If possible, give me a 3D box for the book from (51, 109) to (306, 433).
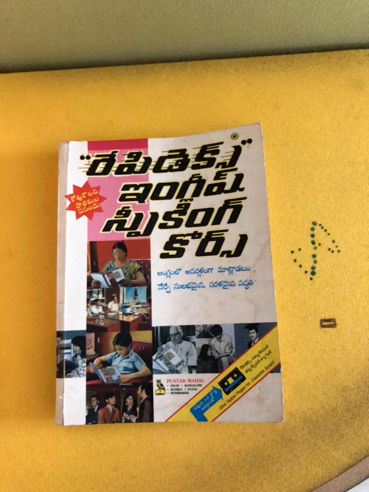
[{"bbox_3d":[-0.011,0.015,0.344,0.190,0.030,0.250,-3,79,3],"label":"book"}]
